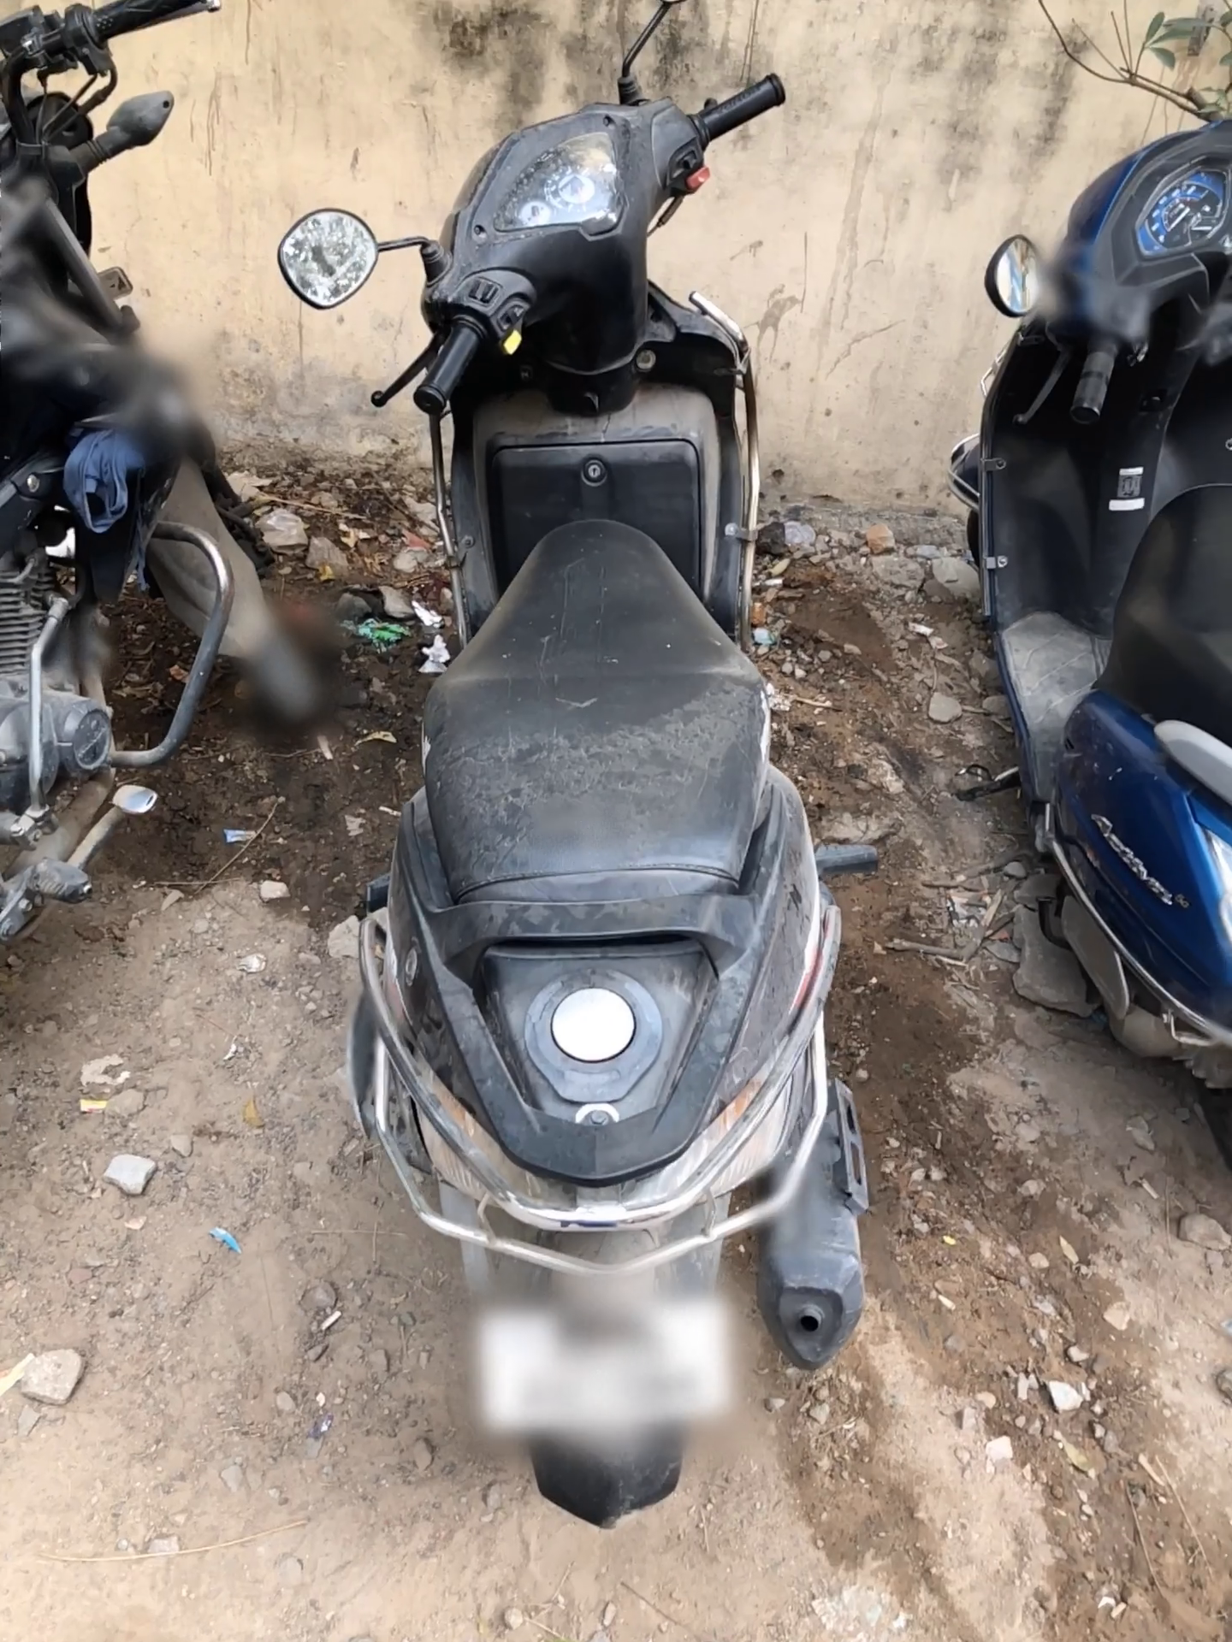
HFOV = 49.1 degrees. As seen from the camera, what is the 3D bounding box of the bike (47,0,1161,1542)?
[{"bbox_3d":[-0.167,-0.319,1.513,0.528,1.113,1.568,1,40,-11],"label":"bike"}]
